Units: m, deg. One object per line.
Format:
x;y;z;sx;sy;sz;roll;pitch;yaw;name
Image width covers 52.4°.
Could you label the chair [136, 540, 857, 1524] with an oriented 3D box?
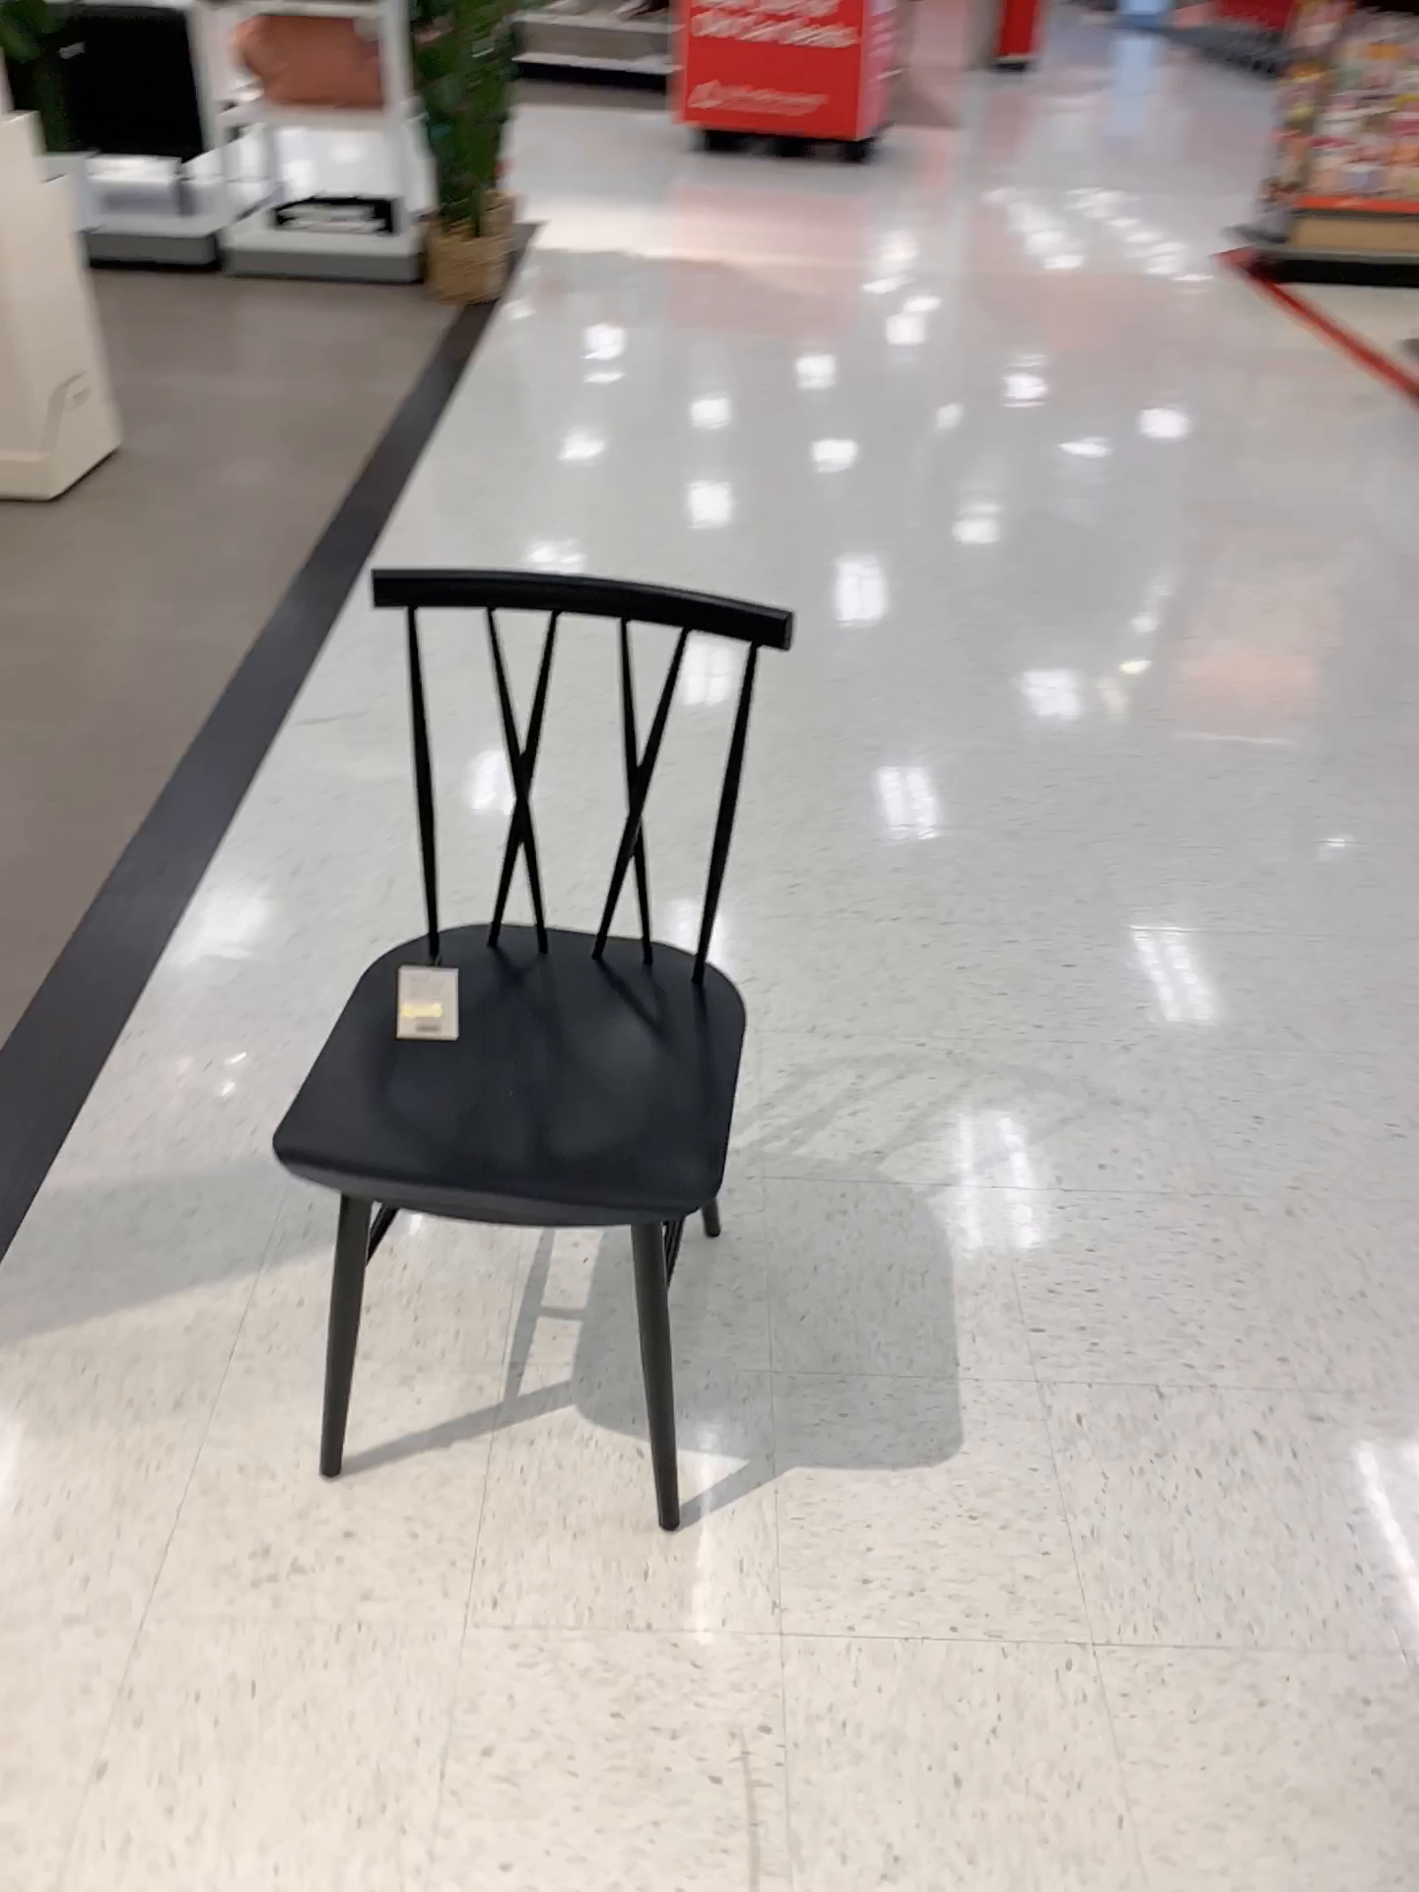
-0.141;0.079;1.387;0.480;0.736;0.523;5;36;3;chair
